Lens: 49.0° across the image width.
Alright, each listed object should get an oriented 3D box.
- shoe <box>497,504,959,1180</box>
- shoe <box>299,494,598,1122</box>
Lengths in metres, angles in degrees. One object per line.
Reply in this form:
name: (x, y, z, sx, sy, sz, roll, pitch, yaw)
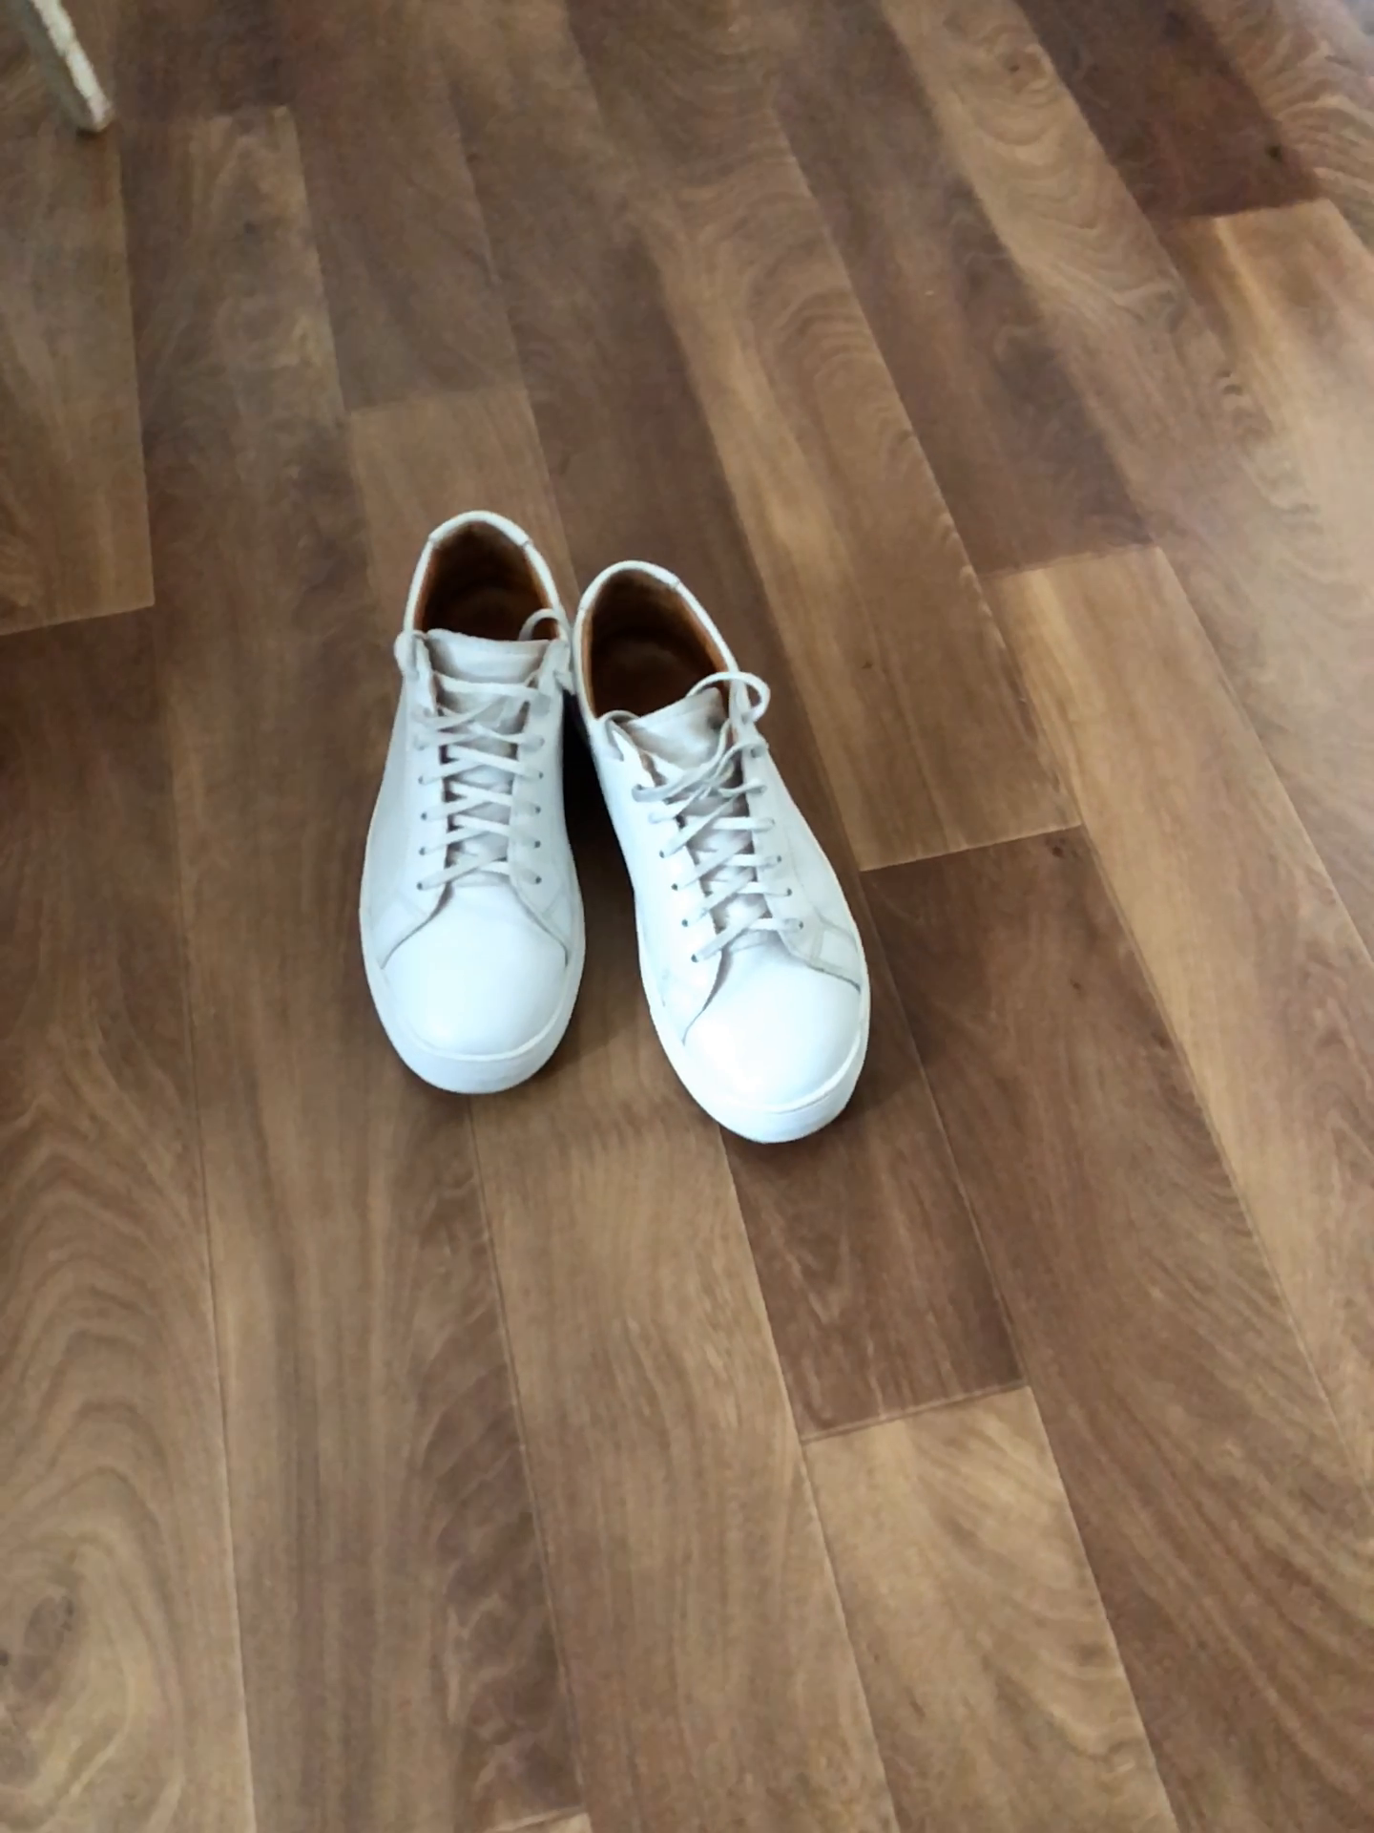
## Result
shoe: (0.009, -0.041, 0.676, 0.110, 0.090, 0.281, -16, 62, -8)
shoe: (-0.099, -0.056, 0.690, 0.110, 0.090, 0.281, -2, 61, 0)
